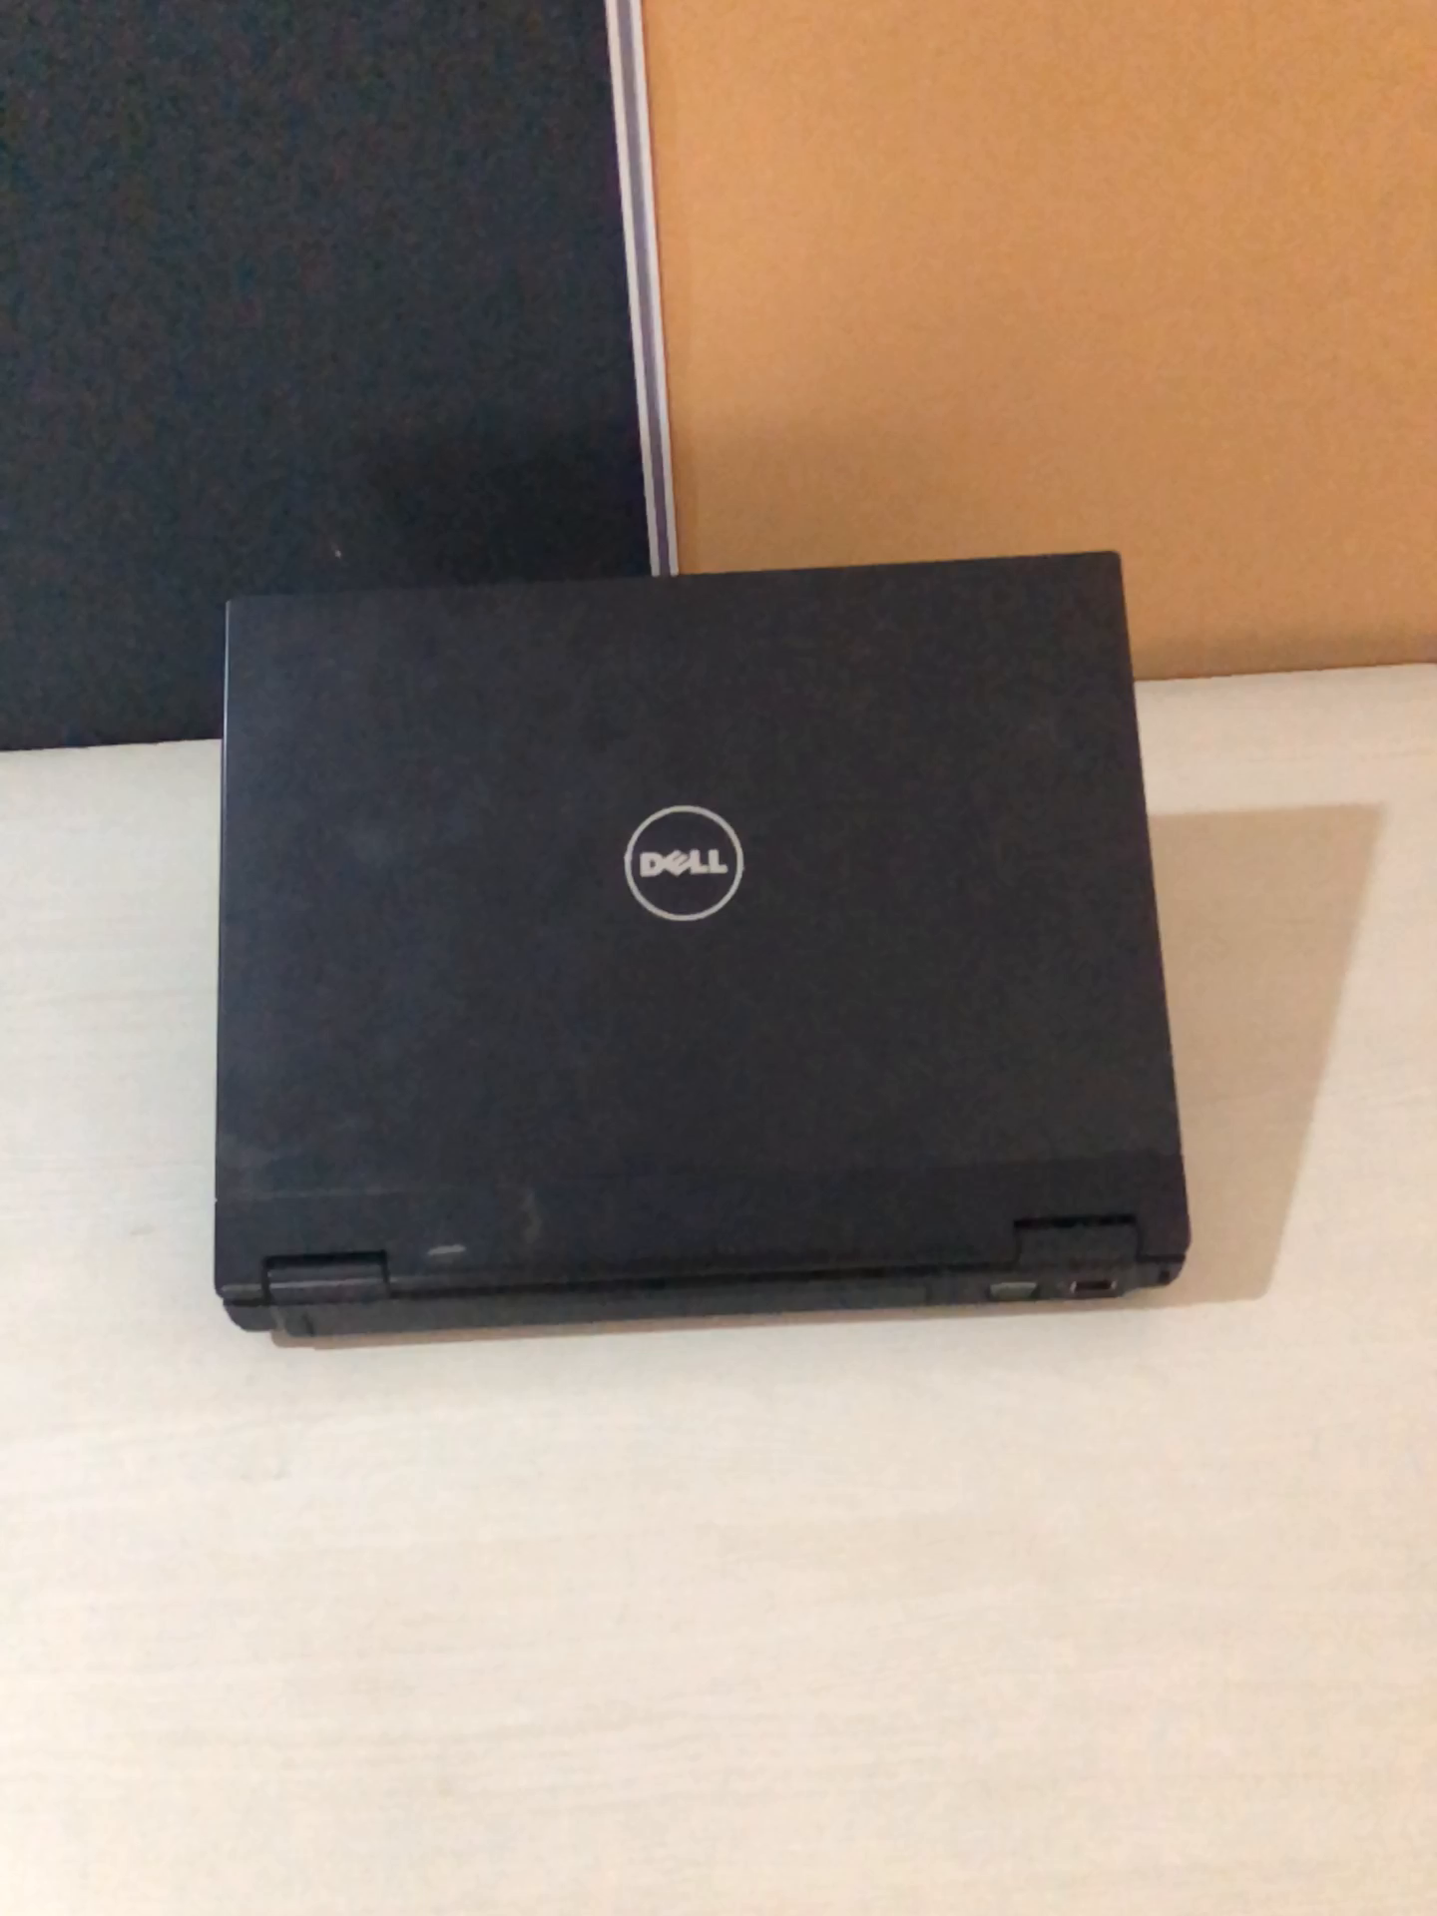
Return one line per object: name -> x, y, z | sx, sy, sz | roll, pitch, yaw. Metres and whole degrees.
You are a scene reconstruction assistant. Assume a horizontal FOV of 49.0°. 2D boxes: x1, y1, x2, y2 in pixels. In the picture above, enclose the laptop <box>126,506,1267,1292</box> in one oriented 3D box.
laptop -> -0.007, -0.027, 0.539 | 0.302, 0.126, 0.226 | -3, 48, 0
